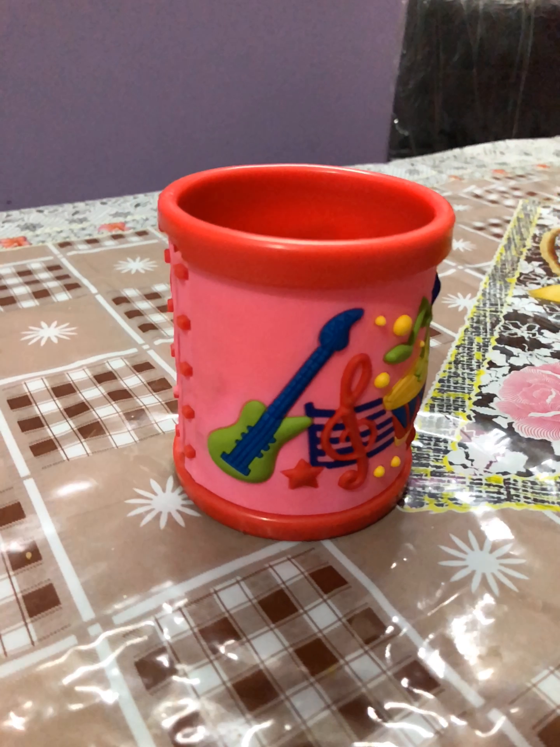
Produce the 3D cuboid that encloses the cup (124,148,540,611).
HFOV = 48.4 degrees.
[{"bbox_3d":[0.012,-0.007,0.194,0.080,0.099,0.080,2,30,-1],"label":"cup"}]
